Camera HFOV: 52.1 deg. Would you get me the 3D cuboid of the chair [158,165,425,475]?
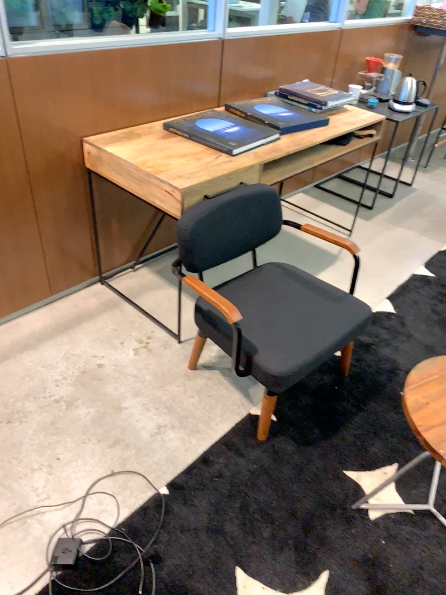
[{"bbox_3d":[0.227,0.051,1.889,0.752,0.875,0.612,-27,47,-35],"label":"chair"}]
